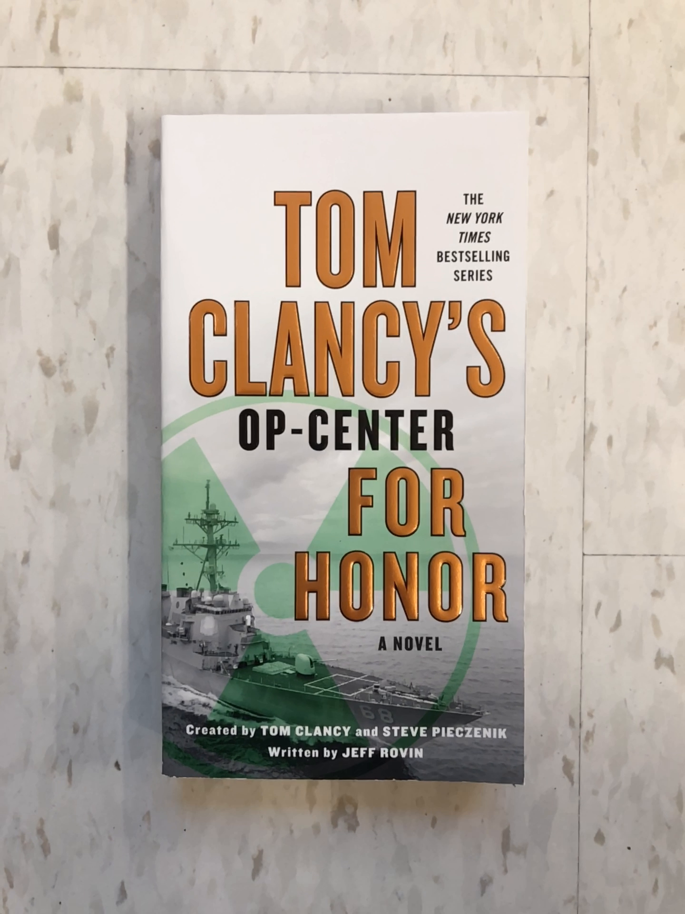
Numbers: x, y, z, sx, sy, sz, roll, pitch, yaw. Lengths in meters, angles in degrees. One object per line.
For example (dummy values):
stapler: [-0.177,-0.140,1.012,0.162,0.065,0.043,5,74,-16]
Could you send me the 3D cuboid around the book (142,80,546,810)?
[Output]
book: [0.000,-0.003,0.235,0.110,0.050,0.200,0,91,-1]
